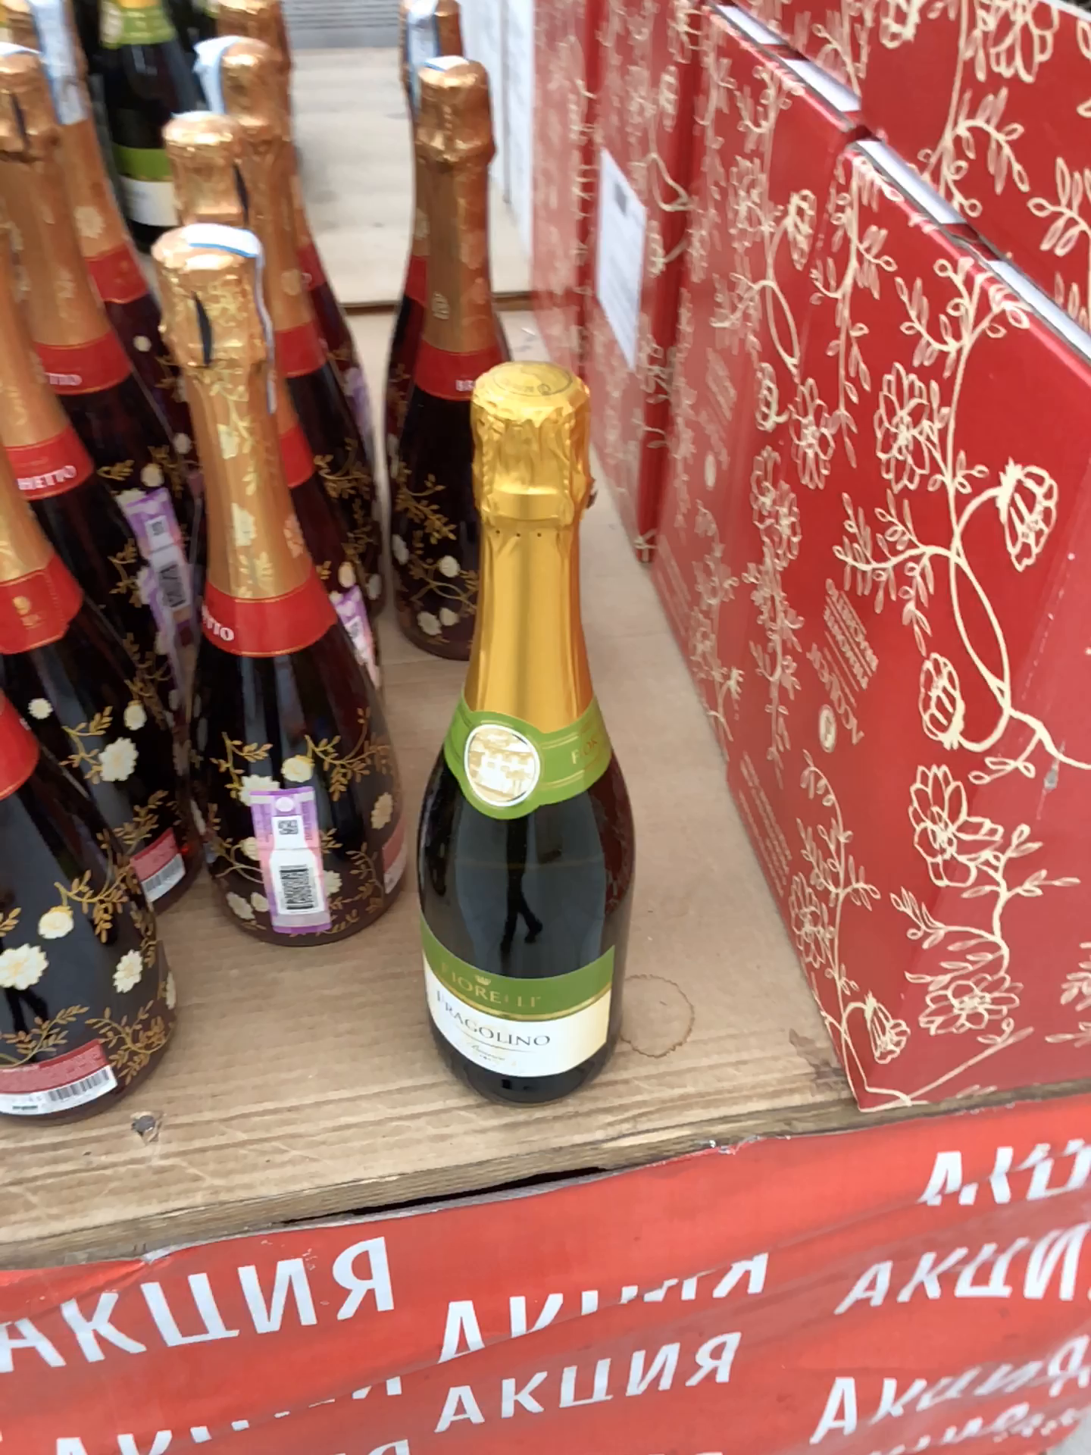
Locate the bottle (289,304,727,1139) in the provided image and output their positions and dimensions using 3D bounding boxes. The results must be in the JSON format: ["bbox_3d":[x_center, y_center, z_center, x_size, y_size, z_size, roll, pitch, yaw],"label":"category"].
[{"bbox_3d":[-0.009,0.017,0.423,0.090,0.288,0.090,1,42,-1],"label":"bottle"}]
